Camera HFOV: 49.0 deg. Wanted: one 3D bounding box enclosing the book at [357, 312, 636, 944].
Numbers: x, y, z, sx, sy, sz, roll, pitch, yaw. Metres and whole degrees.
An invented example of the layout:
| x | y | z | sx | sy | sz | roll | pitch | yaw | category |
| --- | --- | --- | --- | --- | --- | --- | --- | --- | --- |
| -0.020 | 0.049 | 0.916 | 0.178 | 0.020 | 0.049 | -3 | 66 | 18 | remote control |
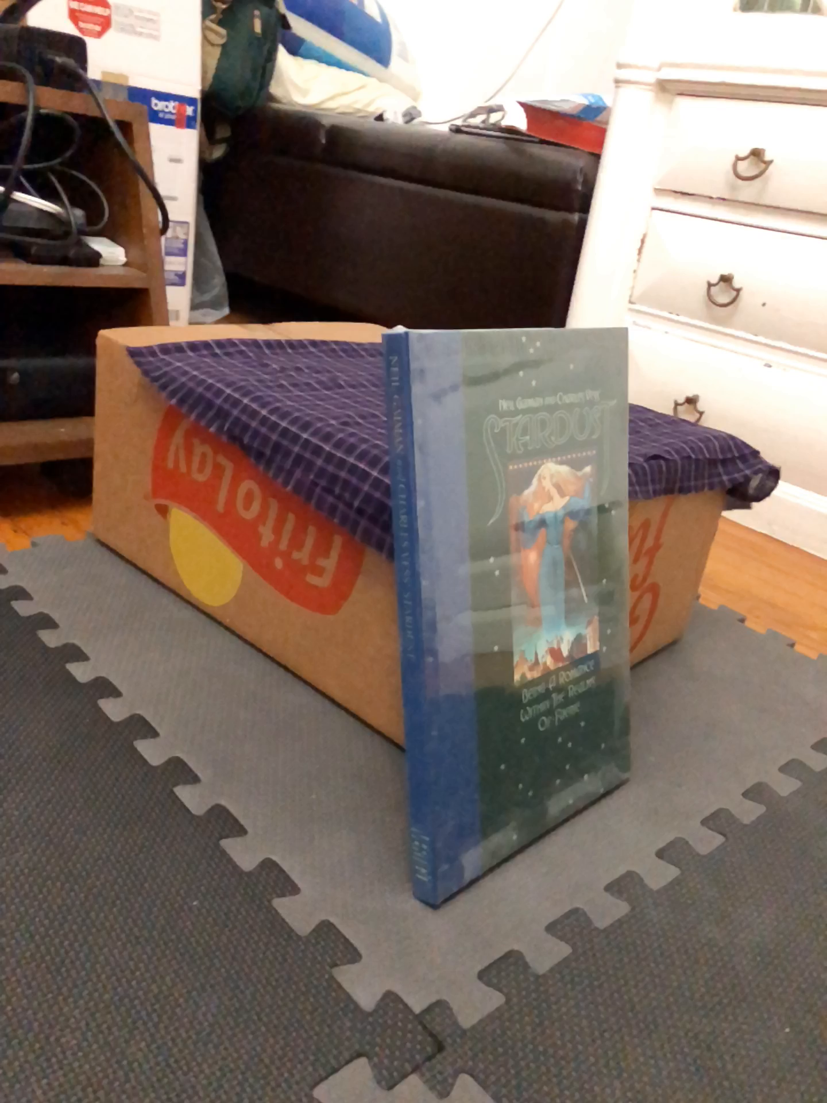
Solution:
| x | y | z | sx | sy | sz | roll | pitch | yaw | category |
| --- | --- | --- | --- | --- | --- | --- | --- | --- | --- |
| 0.064 | 0.030 | 0.539 | 0.020 | 0.329 | 0.211 | 7 | 16 | 44 | book |
